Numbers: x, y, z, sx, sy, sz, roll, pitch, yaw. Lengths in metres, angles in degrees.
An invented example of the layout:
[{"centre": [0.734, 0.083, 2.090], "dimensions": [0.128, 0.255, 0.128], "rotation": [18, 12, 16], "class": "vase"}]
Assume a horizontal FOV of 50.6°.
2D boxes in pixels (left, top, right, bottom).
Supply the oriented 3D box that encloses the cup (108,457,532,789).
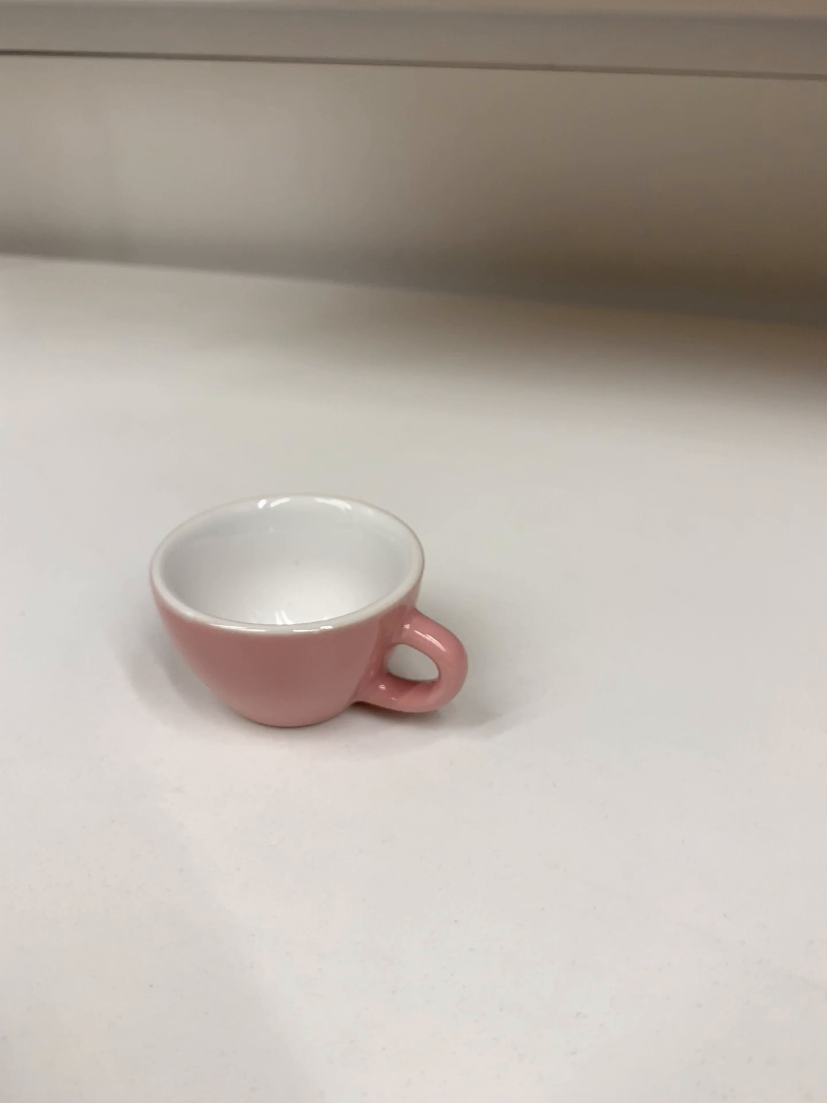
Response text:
[{"centre": [-0.016, 0.012, 0.175], "dimensions": [0.070, 0.040, 0.040], "rotation": [8, 31, 12], "class": "cup"}]
